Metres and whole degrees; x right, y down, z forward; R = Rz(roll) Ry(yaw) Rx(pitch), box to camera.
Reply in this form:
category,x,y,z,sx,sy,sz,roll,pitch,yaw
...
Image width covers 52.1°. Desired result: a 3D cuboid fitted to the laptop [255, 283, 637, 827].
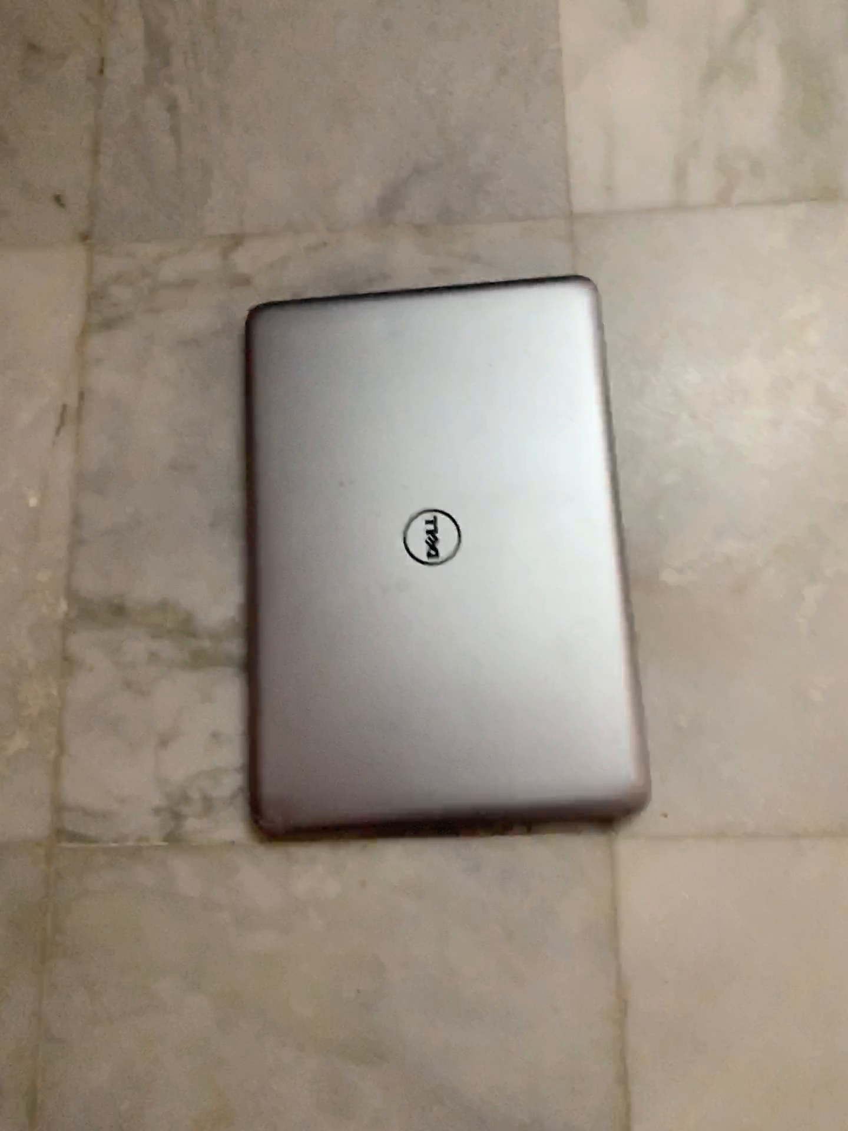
category,x,y,z,sx,sy,sz,roll,pitch,yaw
laptop,0.006,-0.016,0.575,0.234,0.001,0.351,-4,79,3
